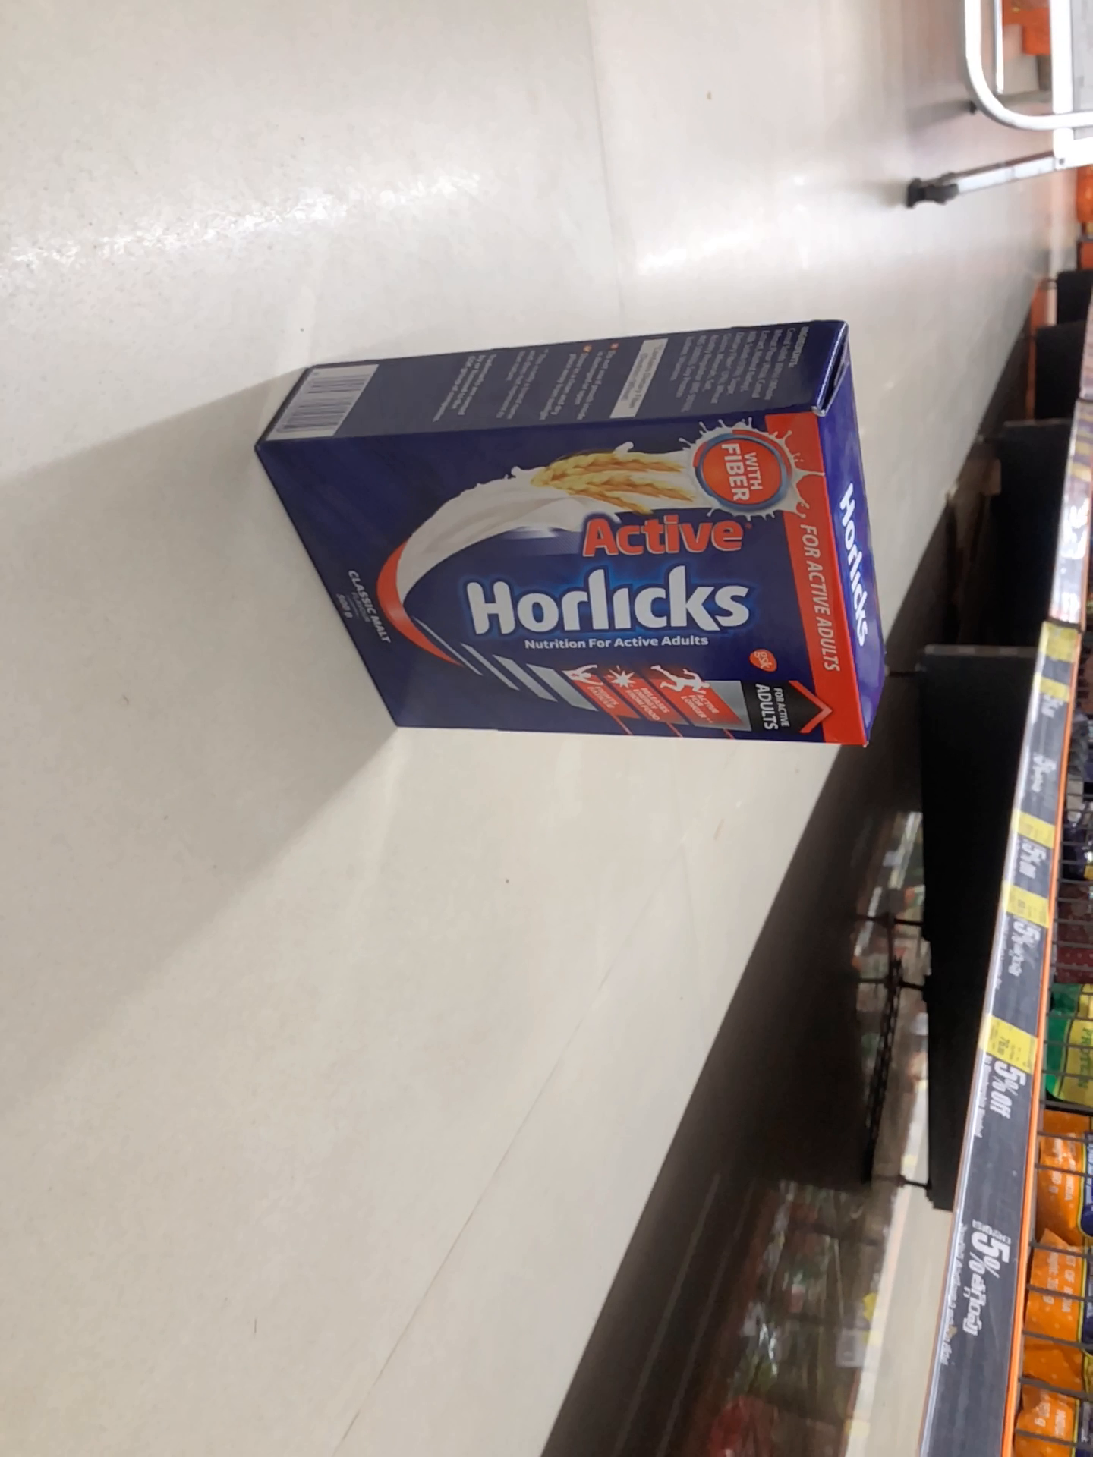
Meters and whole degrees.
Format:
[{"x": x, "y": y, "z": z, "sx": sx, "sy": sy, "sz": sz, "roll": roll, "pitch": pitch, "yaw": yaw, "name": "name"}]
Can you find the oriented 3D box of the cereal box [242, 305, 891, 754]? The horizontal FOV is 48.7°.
[{"x": 0.014, "y": -0.061, "z": 0.421, "sx": 0.141, "sy": 0.189, "sz": 0.050, "roll": 68, "pitch": 33, "yaw": -43, "name": "cereal box"}]
